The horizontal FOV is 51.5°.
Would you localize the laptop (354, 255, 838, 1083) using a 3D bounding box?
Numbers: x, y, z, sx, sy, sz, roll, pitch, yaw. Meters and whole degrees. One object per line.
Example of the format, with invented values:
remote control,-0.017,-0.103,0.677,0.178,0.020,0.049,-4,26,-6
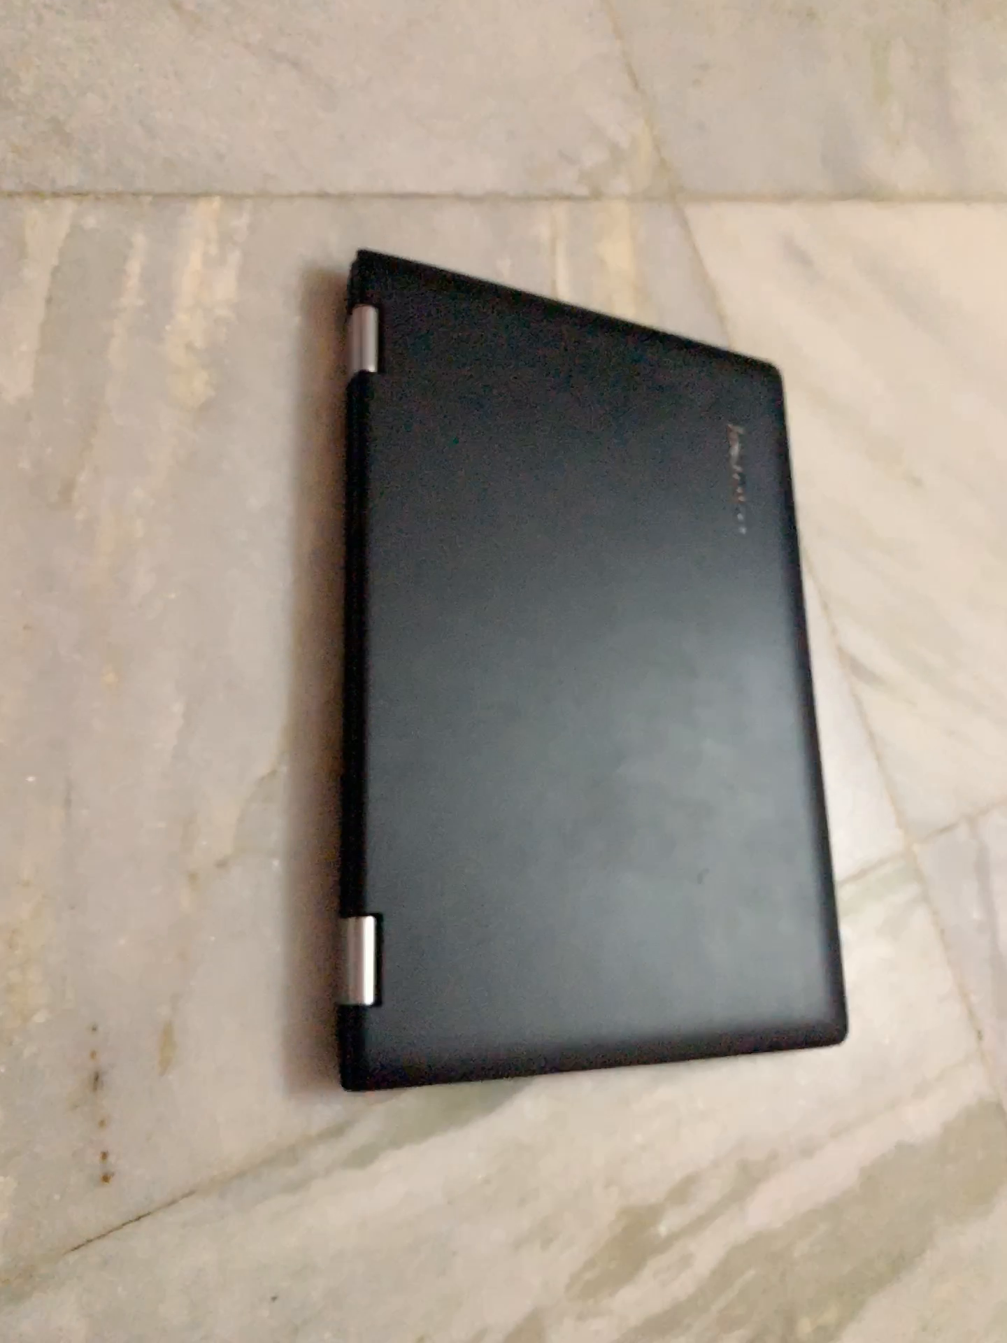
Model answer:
laptop,0.044,-0.007,0.449,0.224,0.001,0.325,6,74,-27
